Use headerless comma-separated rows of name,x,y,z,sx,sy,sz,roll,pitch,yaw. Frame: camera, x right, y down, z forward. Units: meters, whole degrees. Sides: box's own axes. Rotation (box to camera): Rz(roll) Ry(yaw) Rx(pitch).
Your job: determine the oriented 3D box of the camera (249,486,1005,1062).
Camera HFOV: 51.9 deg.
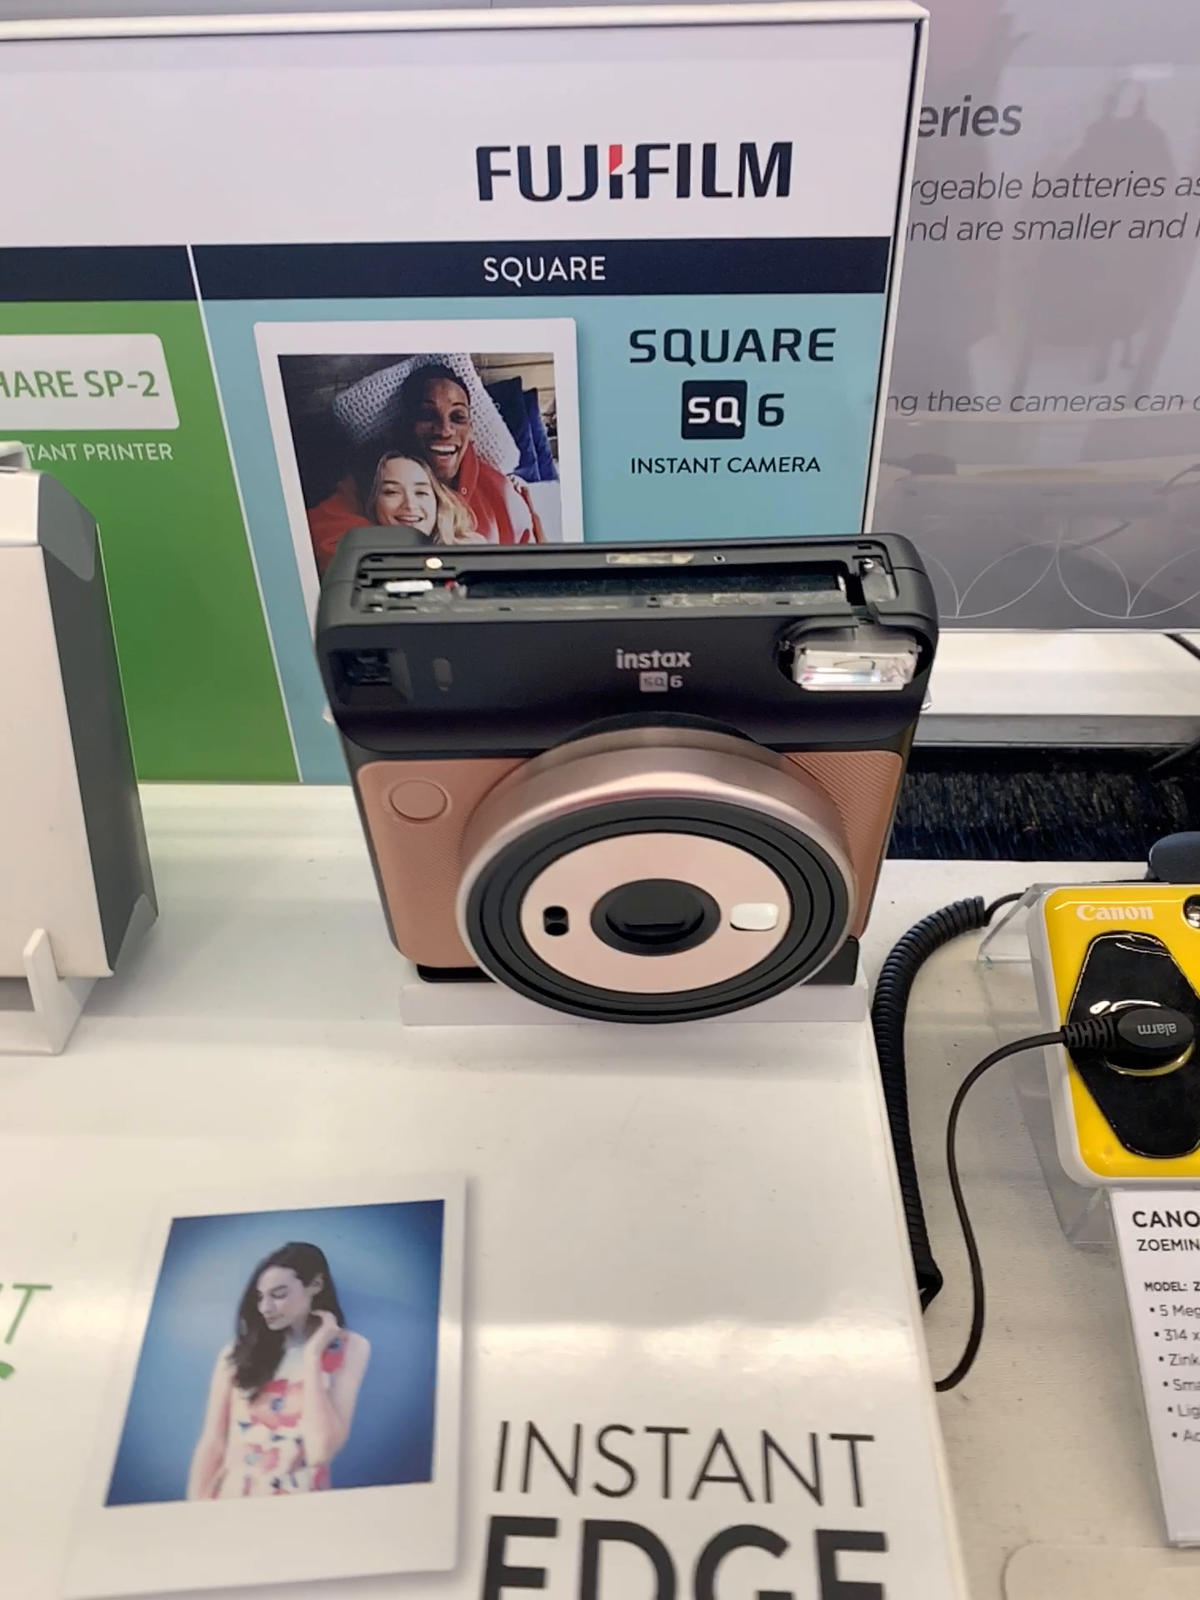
camera,0.005,-0.001,0.276,0.130,0.119,0.061,-1,47,-1
